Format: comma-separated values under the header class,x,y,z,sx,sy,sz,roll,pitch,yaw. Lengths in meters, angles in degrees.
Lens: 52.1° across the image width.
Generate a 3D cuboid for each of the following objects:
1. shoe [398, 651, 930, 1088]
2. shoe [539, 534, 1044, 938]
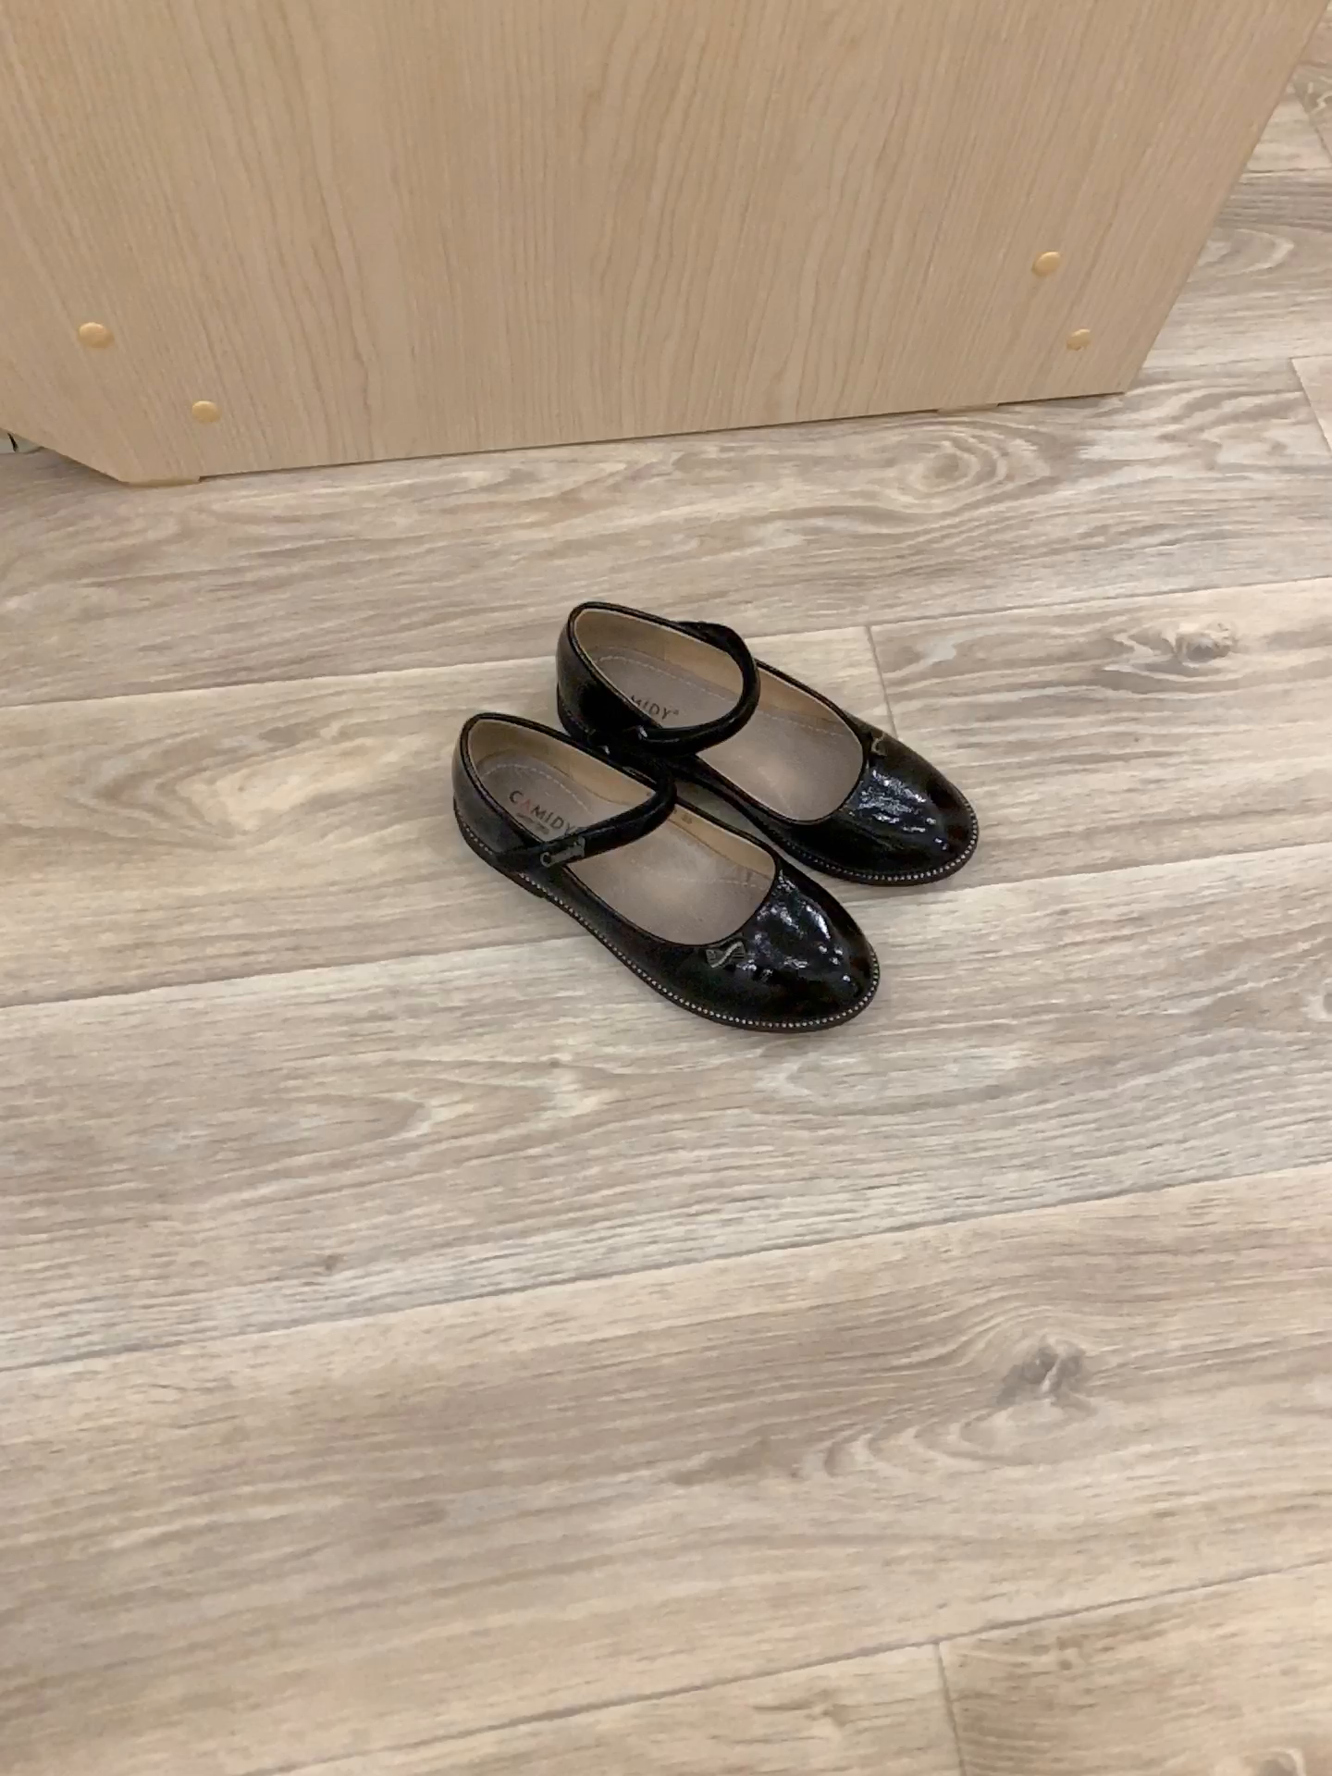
class,x,y,z,sx,sy,sz,roll,pitch,yaw
shoe,-0.005,-0.008,0.715,0.250,0.100,0.090,28,67,8
shoe,0.062,-0.082,0.755,0.250,0.100,0.090,26,67,7
